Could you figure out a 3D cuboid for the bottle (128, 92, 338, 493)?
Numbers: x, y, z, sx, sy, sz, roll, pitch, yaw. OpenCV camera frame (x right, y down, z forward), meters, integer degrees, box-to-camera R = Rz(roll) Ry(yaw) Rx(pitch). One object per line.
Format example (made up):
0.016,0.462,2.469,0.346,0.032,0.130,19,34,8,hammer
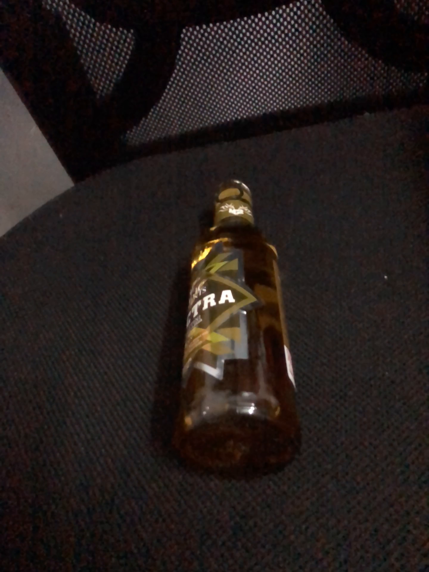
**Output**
0.008,-0.015,0.273,0.070,0.060,0.231,-16,47,16,bottle
